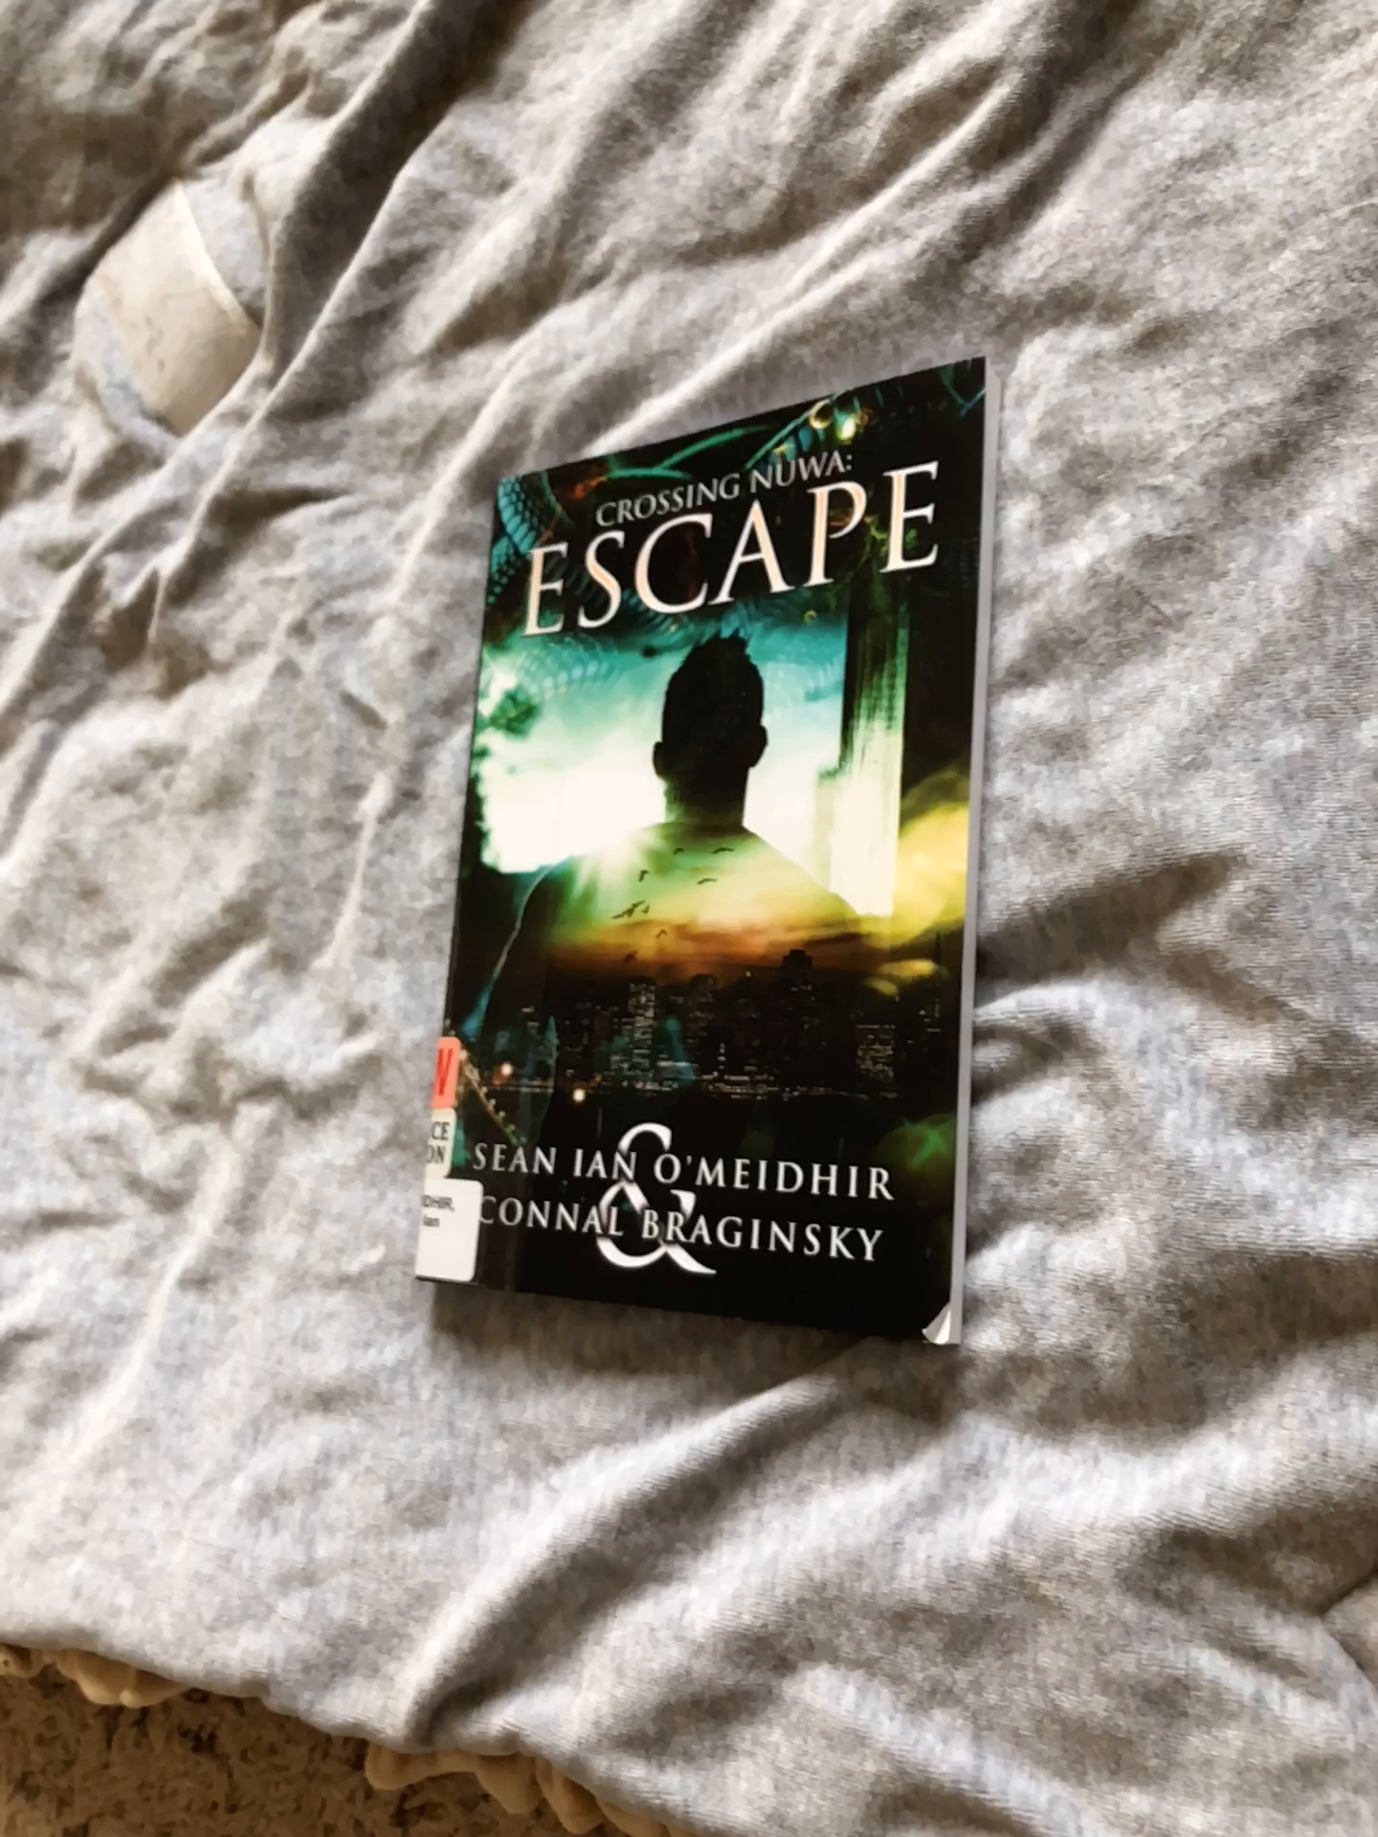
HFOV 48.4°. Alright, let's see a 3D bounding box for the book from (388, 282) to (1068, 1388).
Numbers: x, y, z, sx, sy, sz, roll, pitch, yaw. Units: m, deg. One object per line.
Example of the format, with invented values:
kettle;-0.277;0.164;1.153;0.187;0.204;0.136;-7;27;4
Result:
book;0.007;-0.022;0.393;0.161;0.030;0.250;-1;79;33
